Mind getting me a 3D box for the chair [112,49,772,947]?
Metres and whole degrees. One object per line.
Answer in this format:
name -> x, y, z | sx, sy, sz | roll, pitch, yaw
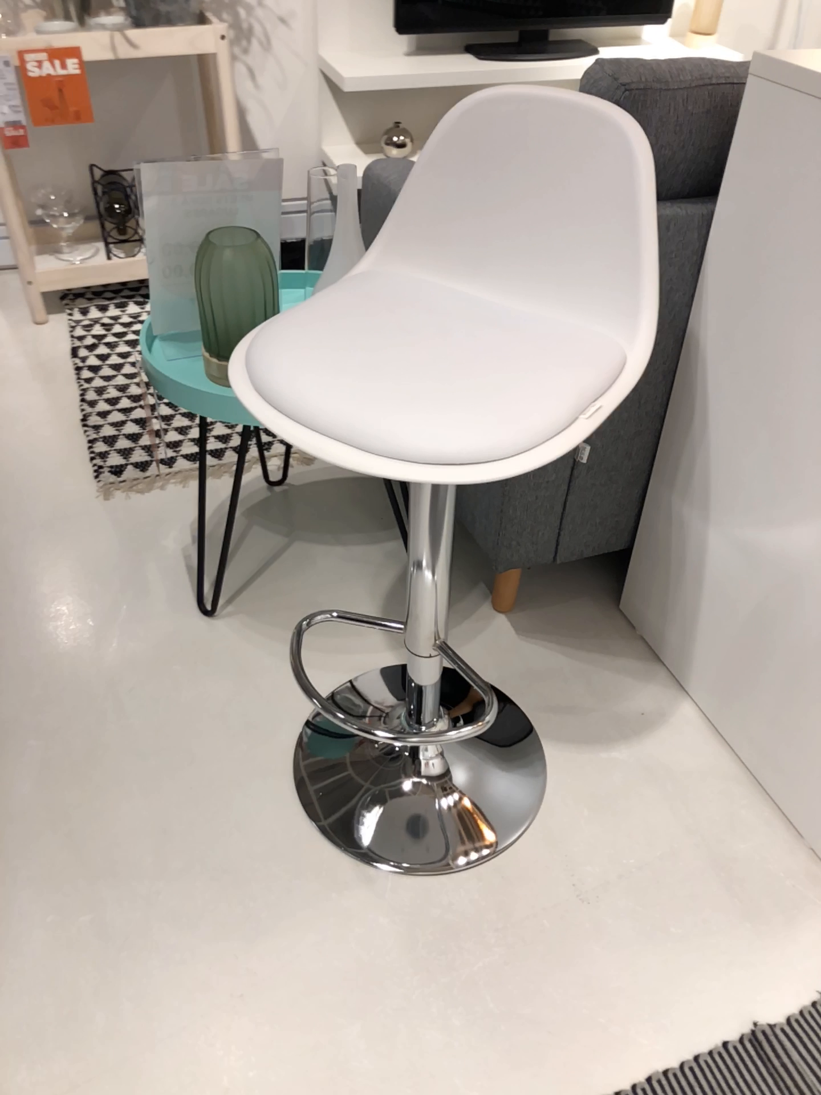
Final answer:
chair -> 0.029, -0.035, 1.069 | 0.411, 0.883, 0.422 | 28, 46, 29
